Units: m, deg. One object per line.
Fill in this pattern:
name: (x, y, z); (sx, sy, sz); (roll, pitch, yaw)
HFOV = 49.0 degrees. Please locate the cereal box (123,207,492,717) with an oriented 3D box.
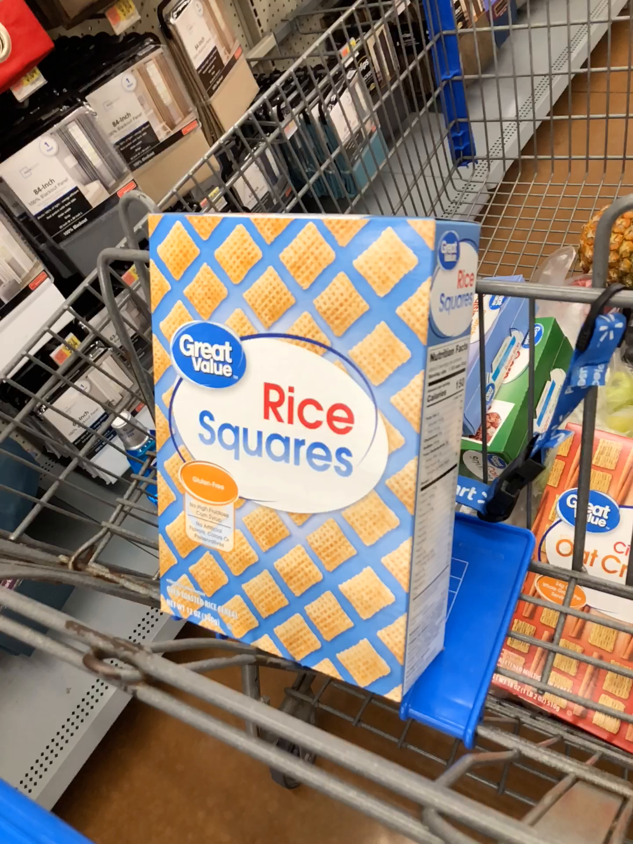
cereal box: (-0.015, 0.009, 0.449); (0.211, 0.280, 0.080); (10, 17, 30)
